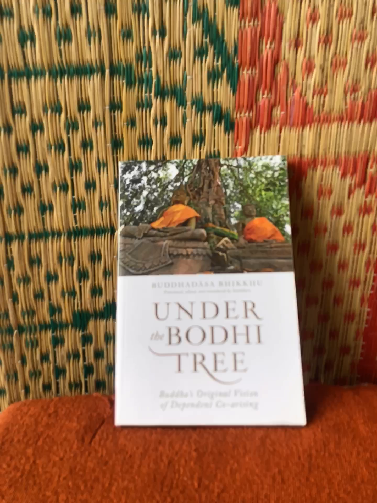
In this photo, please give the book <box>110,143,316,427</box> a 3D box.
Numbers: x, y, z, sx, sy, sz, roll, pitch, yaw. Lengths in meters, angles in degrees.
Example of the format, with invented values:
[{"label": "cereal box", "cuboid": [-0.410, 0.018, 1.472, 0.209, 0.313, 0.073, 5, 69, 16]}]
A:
[{"label": "book", "cuboid": [0.016, 0.024, 0.355, 0.160, 0.231, 0.030, -2, -10, 3]}]
